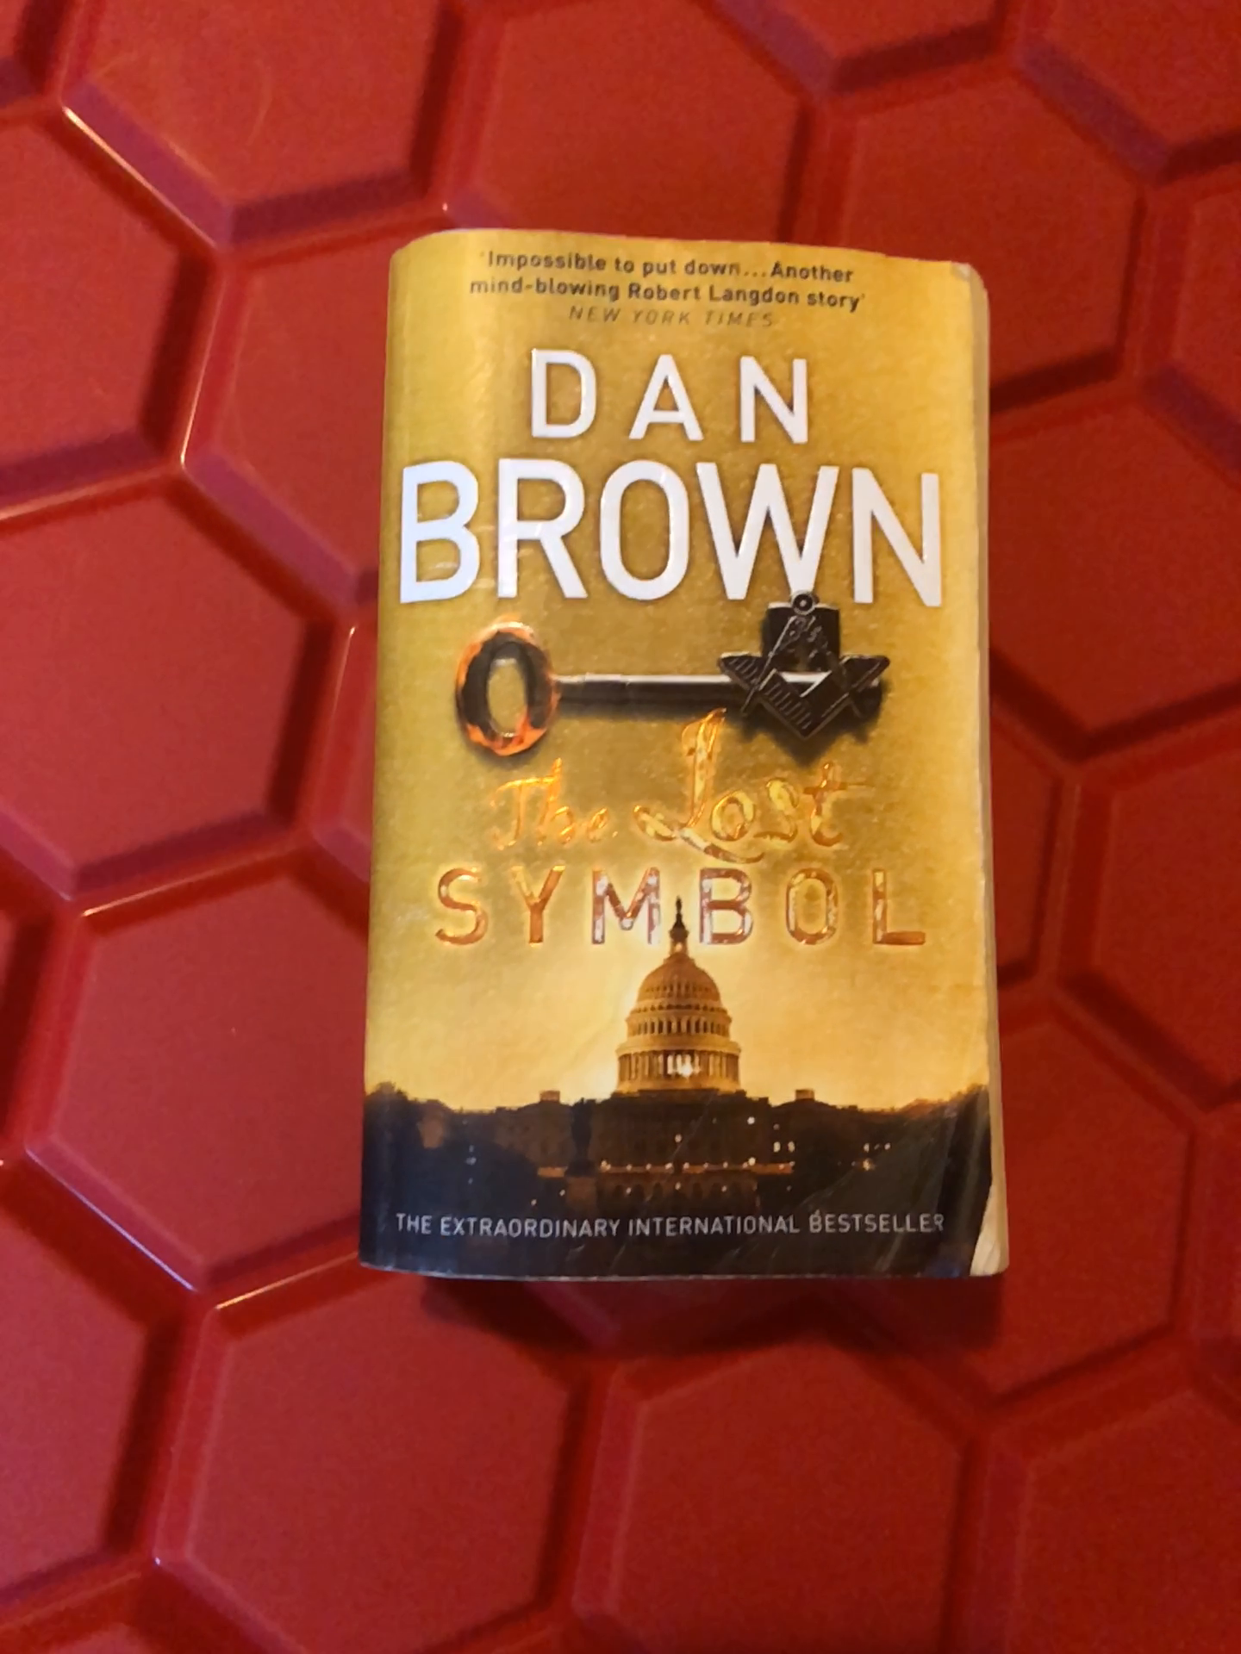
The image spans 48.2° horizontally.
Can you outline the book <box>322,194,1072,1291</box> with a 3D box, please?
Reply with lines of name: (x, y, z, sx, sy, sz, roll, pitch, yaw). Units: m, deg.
book: (0.012, -0.014, 0.259, 0.122, 0.051, 0.183, 1, 83, -6)
